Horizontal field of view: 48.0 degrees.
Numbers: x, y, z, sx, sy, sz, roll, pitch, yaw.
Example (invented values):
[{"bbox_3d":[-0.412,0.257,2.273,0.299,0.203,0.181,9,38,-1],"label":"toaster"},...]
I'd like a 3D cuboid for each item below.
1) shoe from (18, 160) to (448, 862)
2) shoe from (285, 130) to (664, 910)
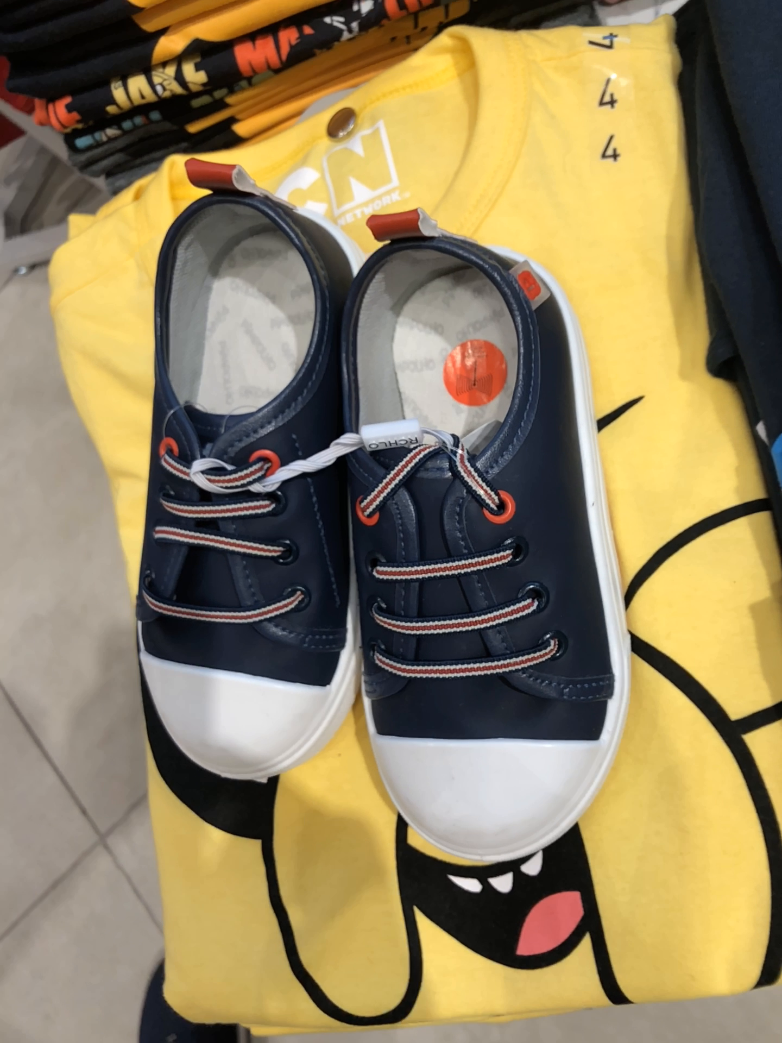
[{"bbox_3d":[-0.041,-0.006,0.245,0.080,0.070,0.160,8,95,19],"label":"shoe"},{"bbox_3d":[0.028,0.001,0.237,0.080,0.070,0.170,-3,91,18],"label":"shoe"}]
